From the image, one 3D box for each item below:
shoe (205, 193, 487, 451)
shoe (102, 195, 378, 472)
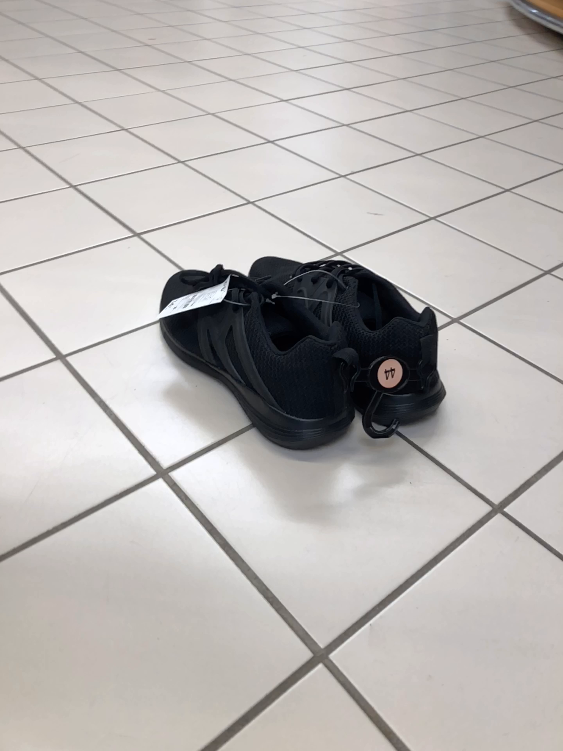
[{"bbox_3d":[0.045,-0.074,0.644,0.100,0.109,0.310,-23,46,-29],"label":"shoe"},{"bbox_3d":[-0.056,-0.060,0.606,0.100,0.109,0.310,-23,46,-29],"label":"shoe"}]
